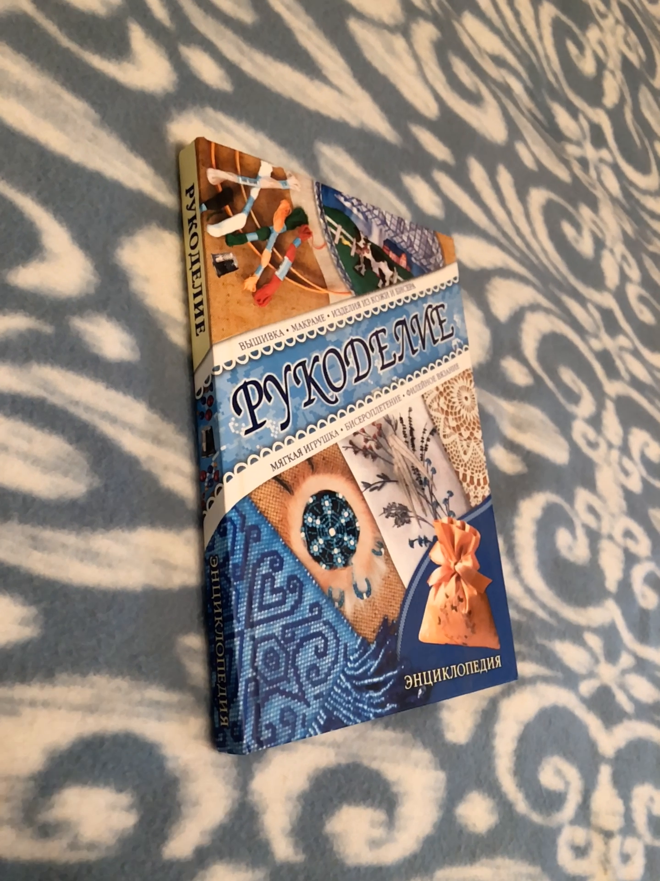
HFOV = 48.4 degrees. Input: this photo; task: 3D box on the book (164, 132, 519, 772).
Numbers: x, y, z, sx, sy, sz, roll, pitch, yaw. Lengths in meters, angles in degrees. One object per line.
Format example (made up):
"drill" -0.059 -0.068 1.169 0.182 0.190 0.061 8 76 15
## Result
"book" 0.012 0.001 0.331 0.169 0.020 0.237 5 74 -43
